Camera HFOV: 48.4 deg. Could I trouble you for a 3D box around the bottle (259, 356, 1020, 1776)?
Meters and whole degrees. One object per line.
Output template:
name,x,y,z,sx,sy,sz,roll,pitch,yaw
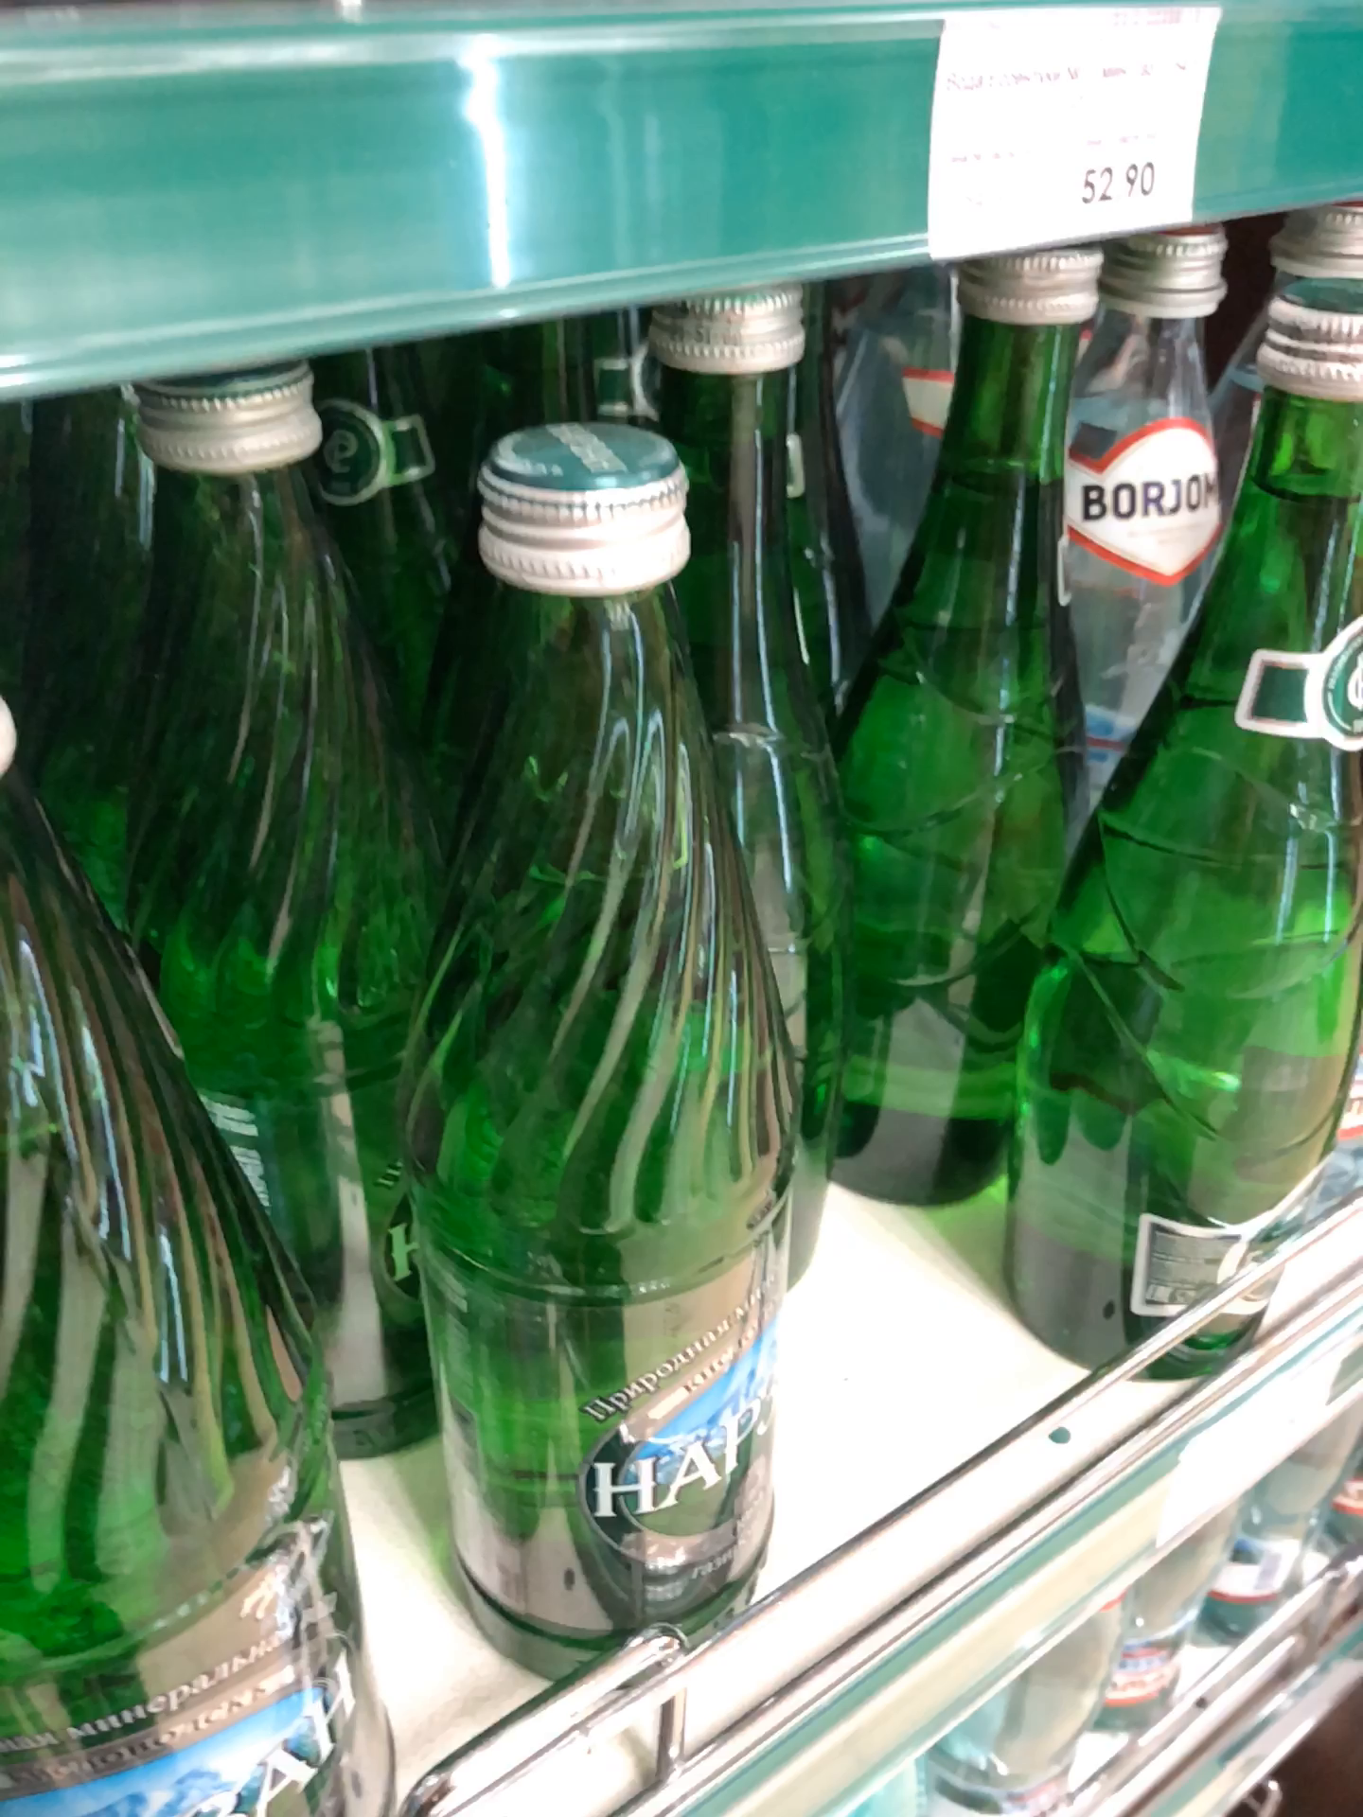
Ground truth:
bottle,-0.006,0.039,0.266,0.080,0.240,0.060,-24,41,-32
